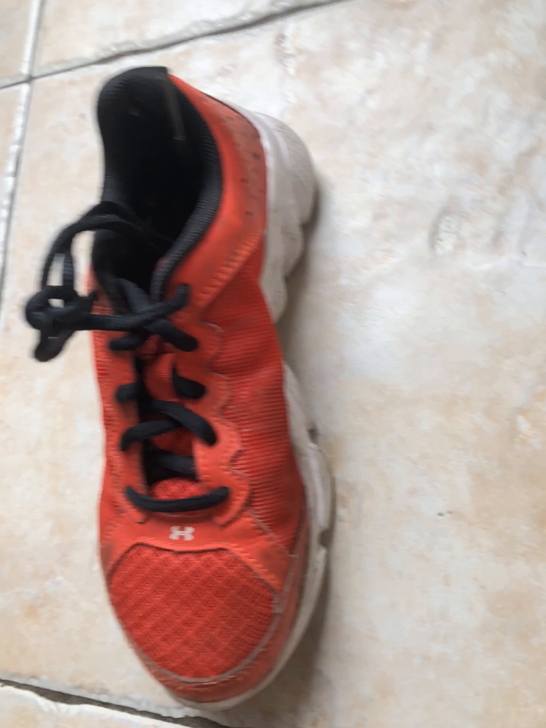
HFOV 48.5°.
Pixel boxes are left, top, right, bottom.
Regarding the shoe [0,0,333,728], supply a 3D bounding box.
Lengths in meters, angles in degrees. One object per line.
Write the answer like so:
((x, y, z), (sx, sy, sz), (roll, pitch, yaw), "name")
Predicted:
((-0.043, 0.000, 0.208), (0.100, 0.100, 0.240), (-4, 77, 23), "shoe")
